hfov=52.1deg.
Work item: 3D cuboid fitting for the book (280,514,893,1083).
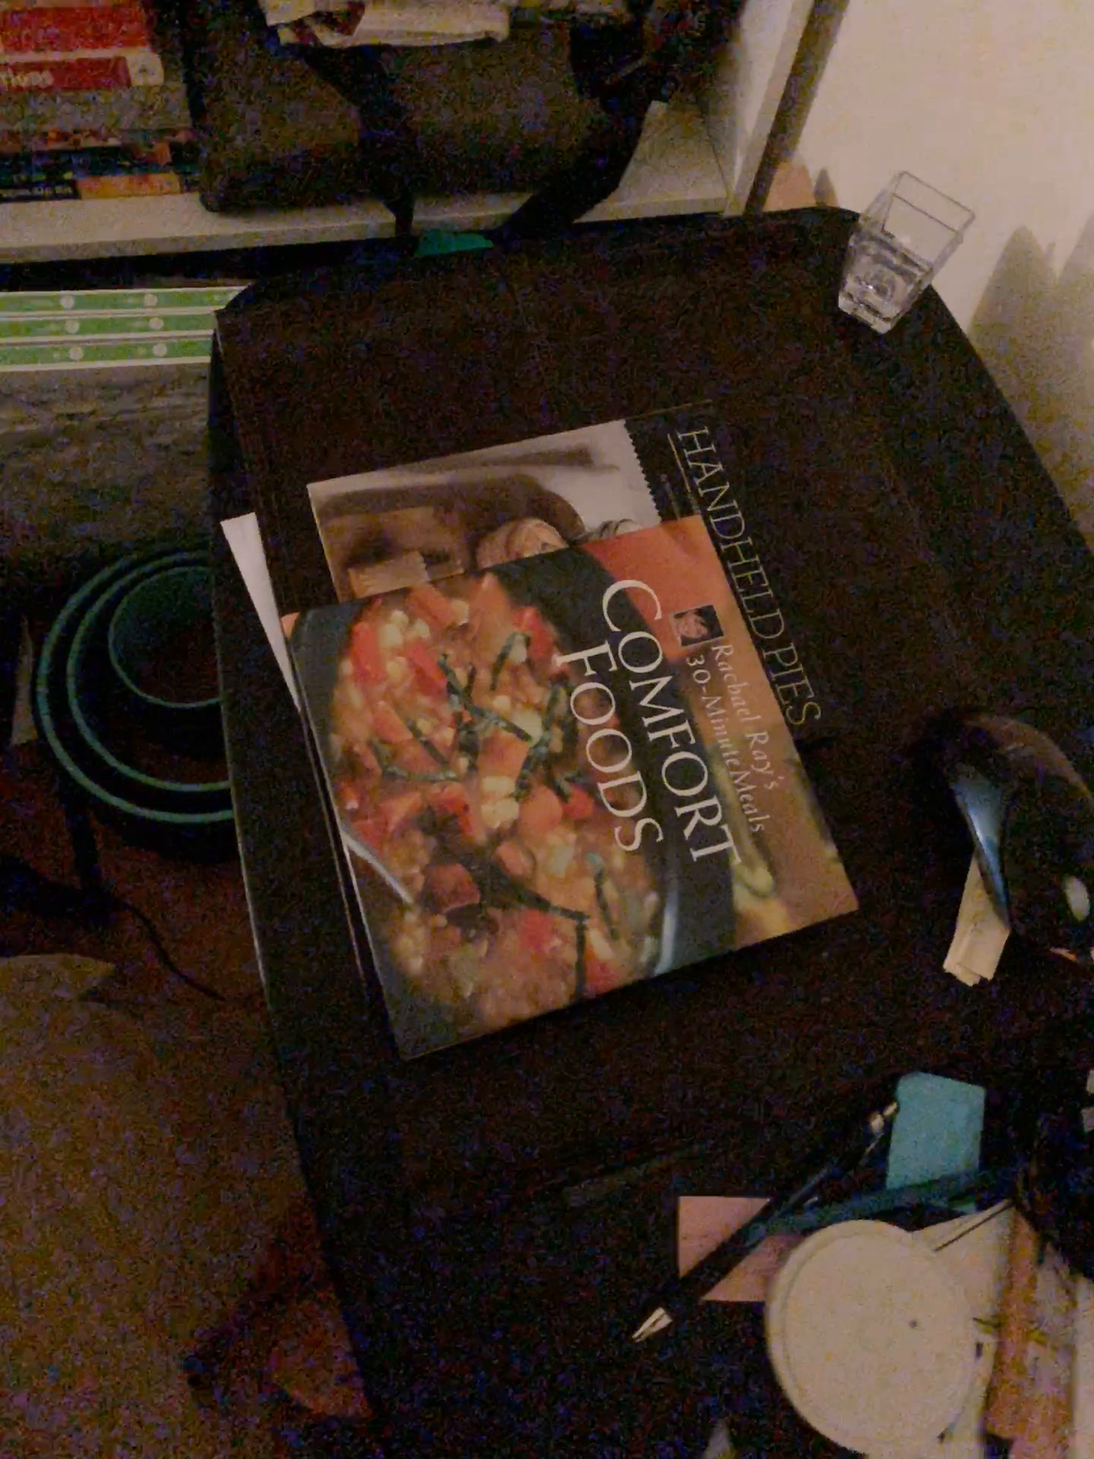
[{"bbox_3d":[0.013,0.019,0.485,0.210,0.020,0.200,-15,72,-11],"label":"book"}]

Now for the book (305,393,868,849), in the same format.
[{"bbox_3d":[0.016,-0.060,0.531,0.220,0.020,0.180,-15,72,-11],"label":"book"}]
